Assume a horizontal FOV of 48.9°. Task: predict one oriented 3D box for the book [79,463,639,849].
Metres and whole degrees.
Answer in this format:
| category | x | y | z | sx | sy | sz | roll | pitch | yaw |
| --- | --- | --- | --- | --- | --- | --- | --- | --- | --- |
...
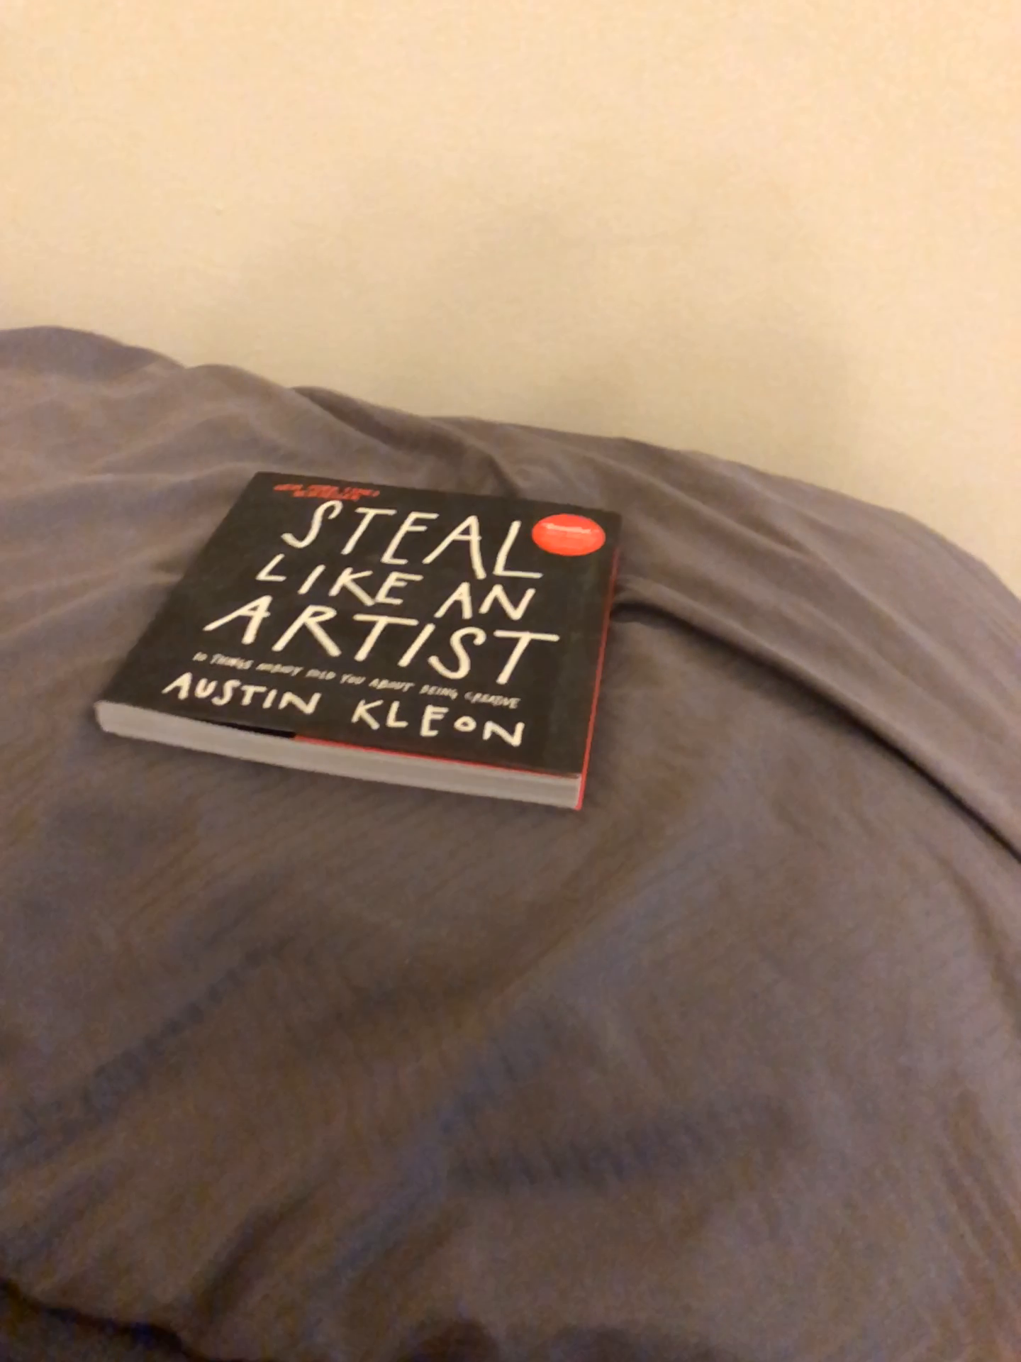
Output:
| category | x | y | z | sx | sy | sz | roll | pitch | yaw |
| --- | --- | --- | --- | --- | --- | --- | --- | --- | --- |
| book | -0.041 | -0.019 | 0.403 | 0.160 | 0.020 | 0.161 | 9 | 40 | 4 |
